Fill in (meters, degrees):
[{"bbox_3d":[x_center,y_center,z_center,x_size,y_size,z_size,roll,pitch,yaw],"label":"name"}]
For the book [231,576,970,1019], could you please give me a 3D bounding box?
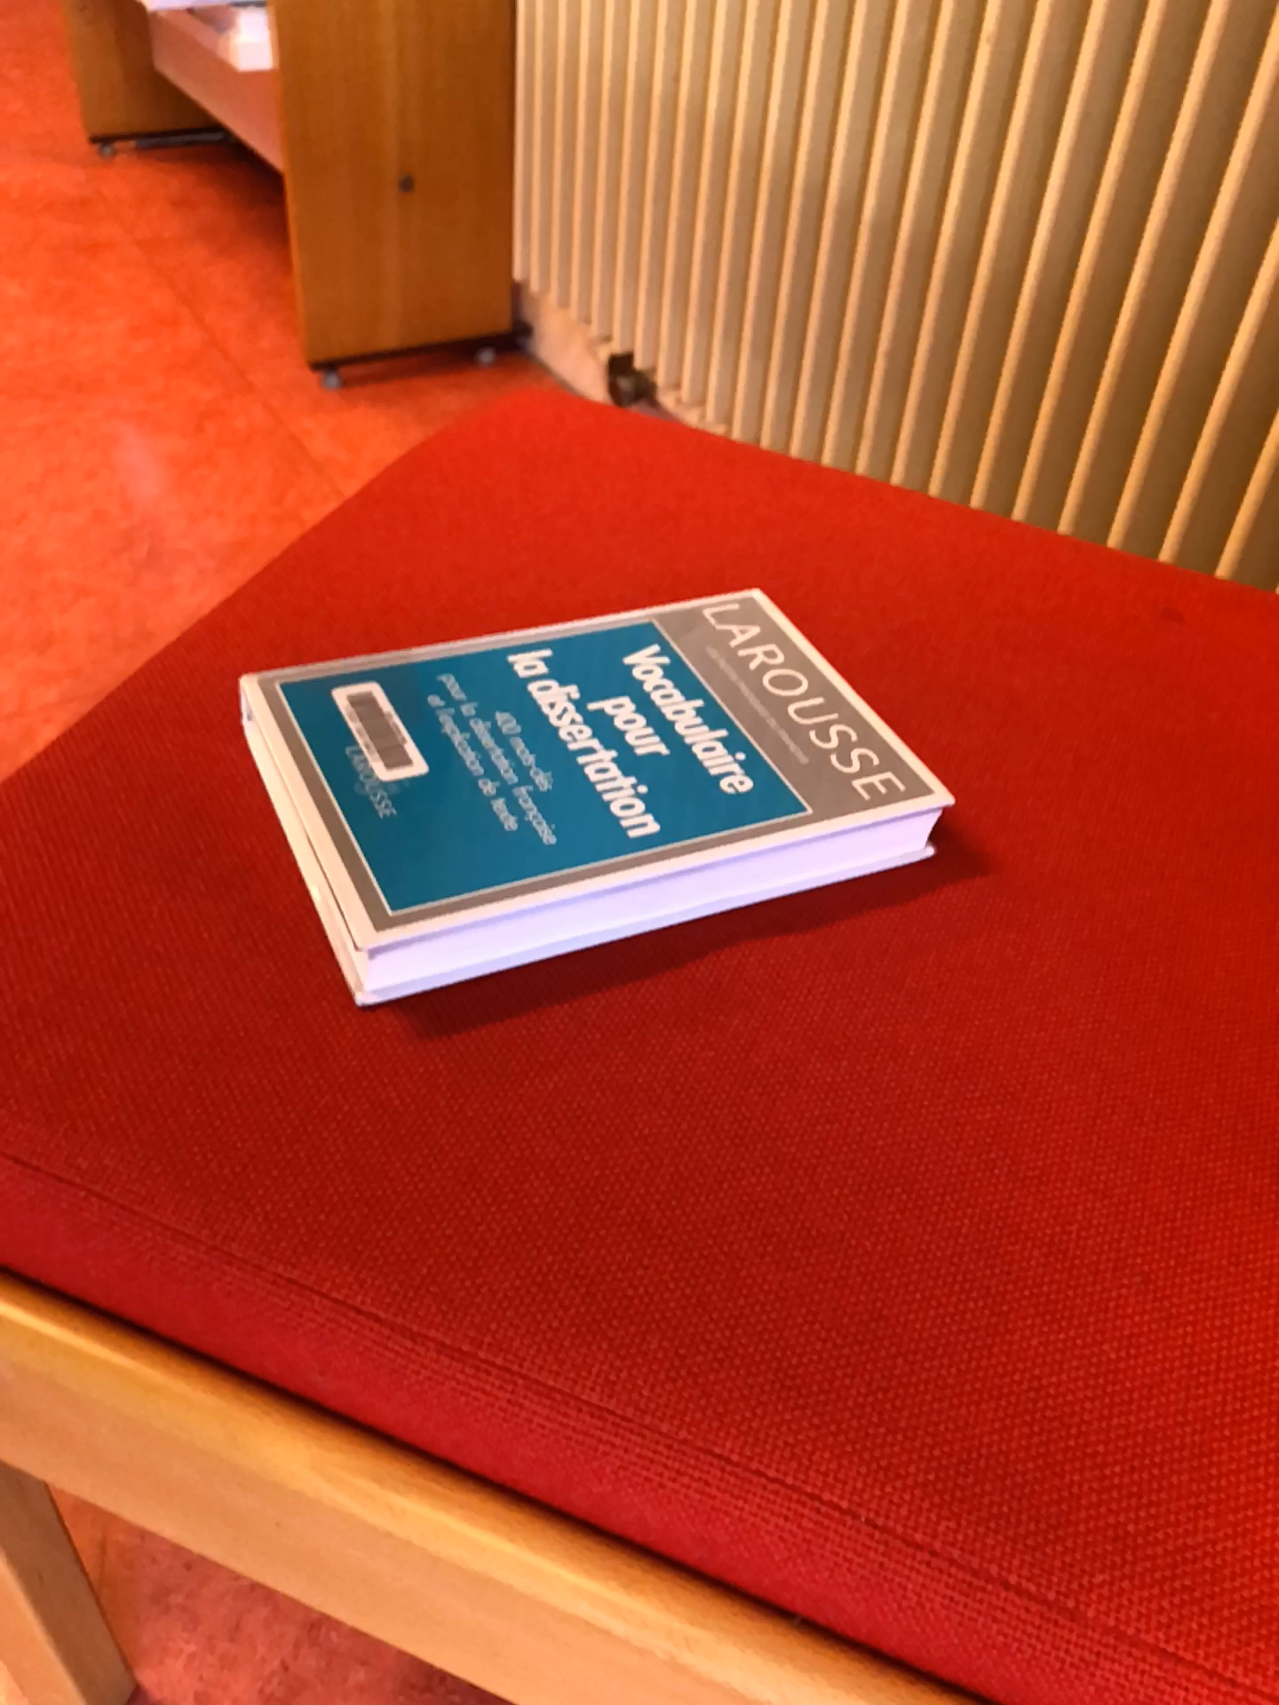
[{"bbox_3d":[-0.016,-0.030,0.461,0.199,0.030,0.137,-13,44,-22],"label":"book"}]
